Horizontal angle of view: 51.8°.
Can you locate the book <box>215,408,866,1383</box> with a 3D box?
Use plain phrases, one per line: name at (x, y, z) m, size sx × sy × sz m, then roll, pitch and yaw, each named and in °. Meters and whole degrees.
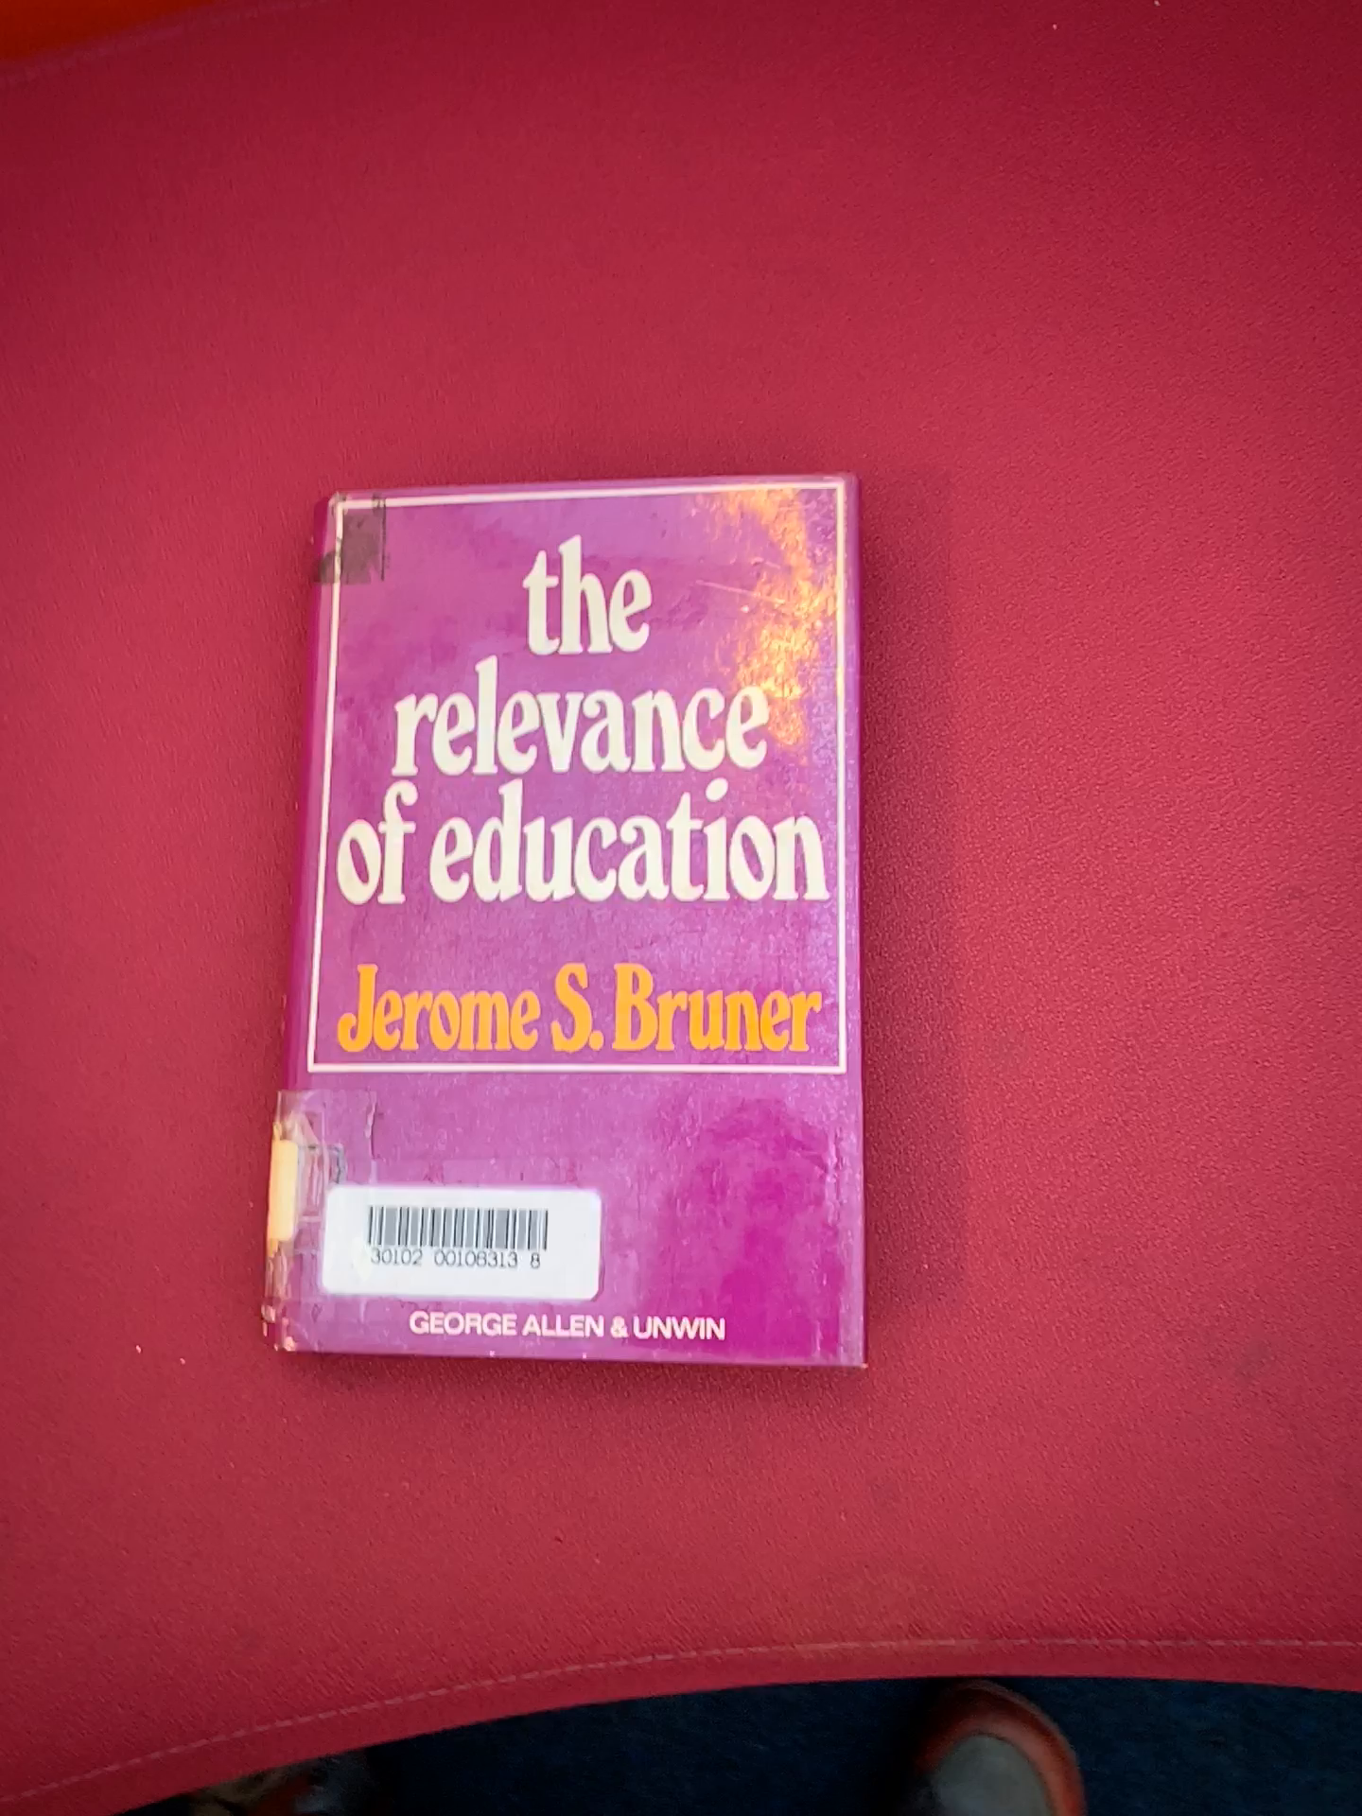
book at (-0.031, -0.005, 0.355) m, size 0.150 × 0.040 × 0.230 m, roll -1°, pitch 81°, yaw 7°
